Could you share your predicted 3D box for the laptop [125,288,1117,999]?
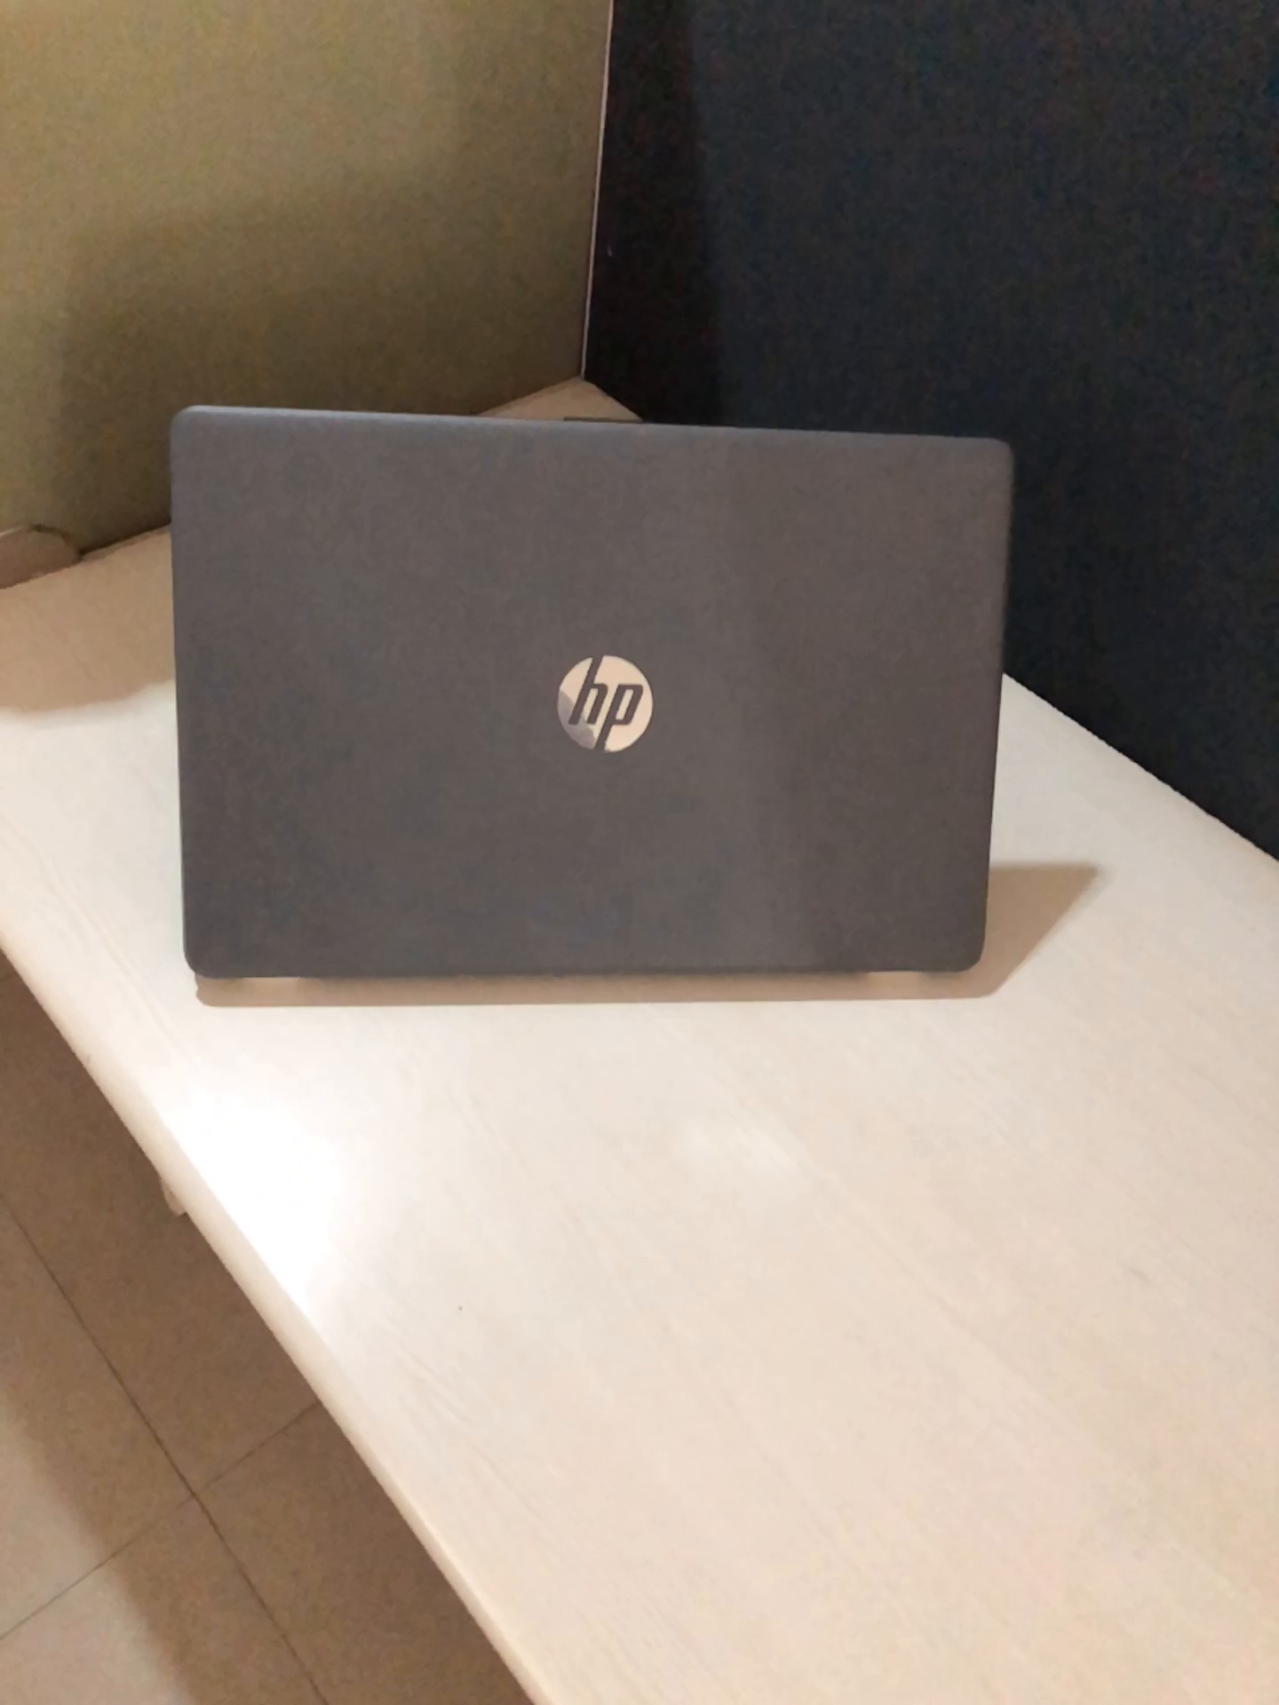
[{"bbox_3d":[-0.020,-0.097,0.662,0.361,0.204,0.248,0,49,-6],"label":"laptop"}]
